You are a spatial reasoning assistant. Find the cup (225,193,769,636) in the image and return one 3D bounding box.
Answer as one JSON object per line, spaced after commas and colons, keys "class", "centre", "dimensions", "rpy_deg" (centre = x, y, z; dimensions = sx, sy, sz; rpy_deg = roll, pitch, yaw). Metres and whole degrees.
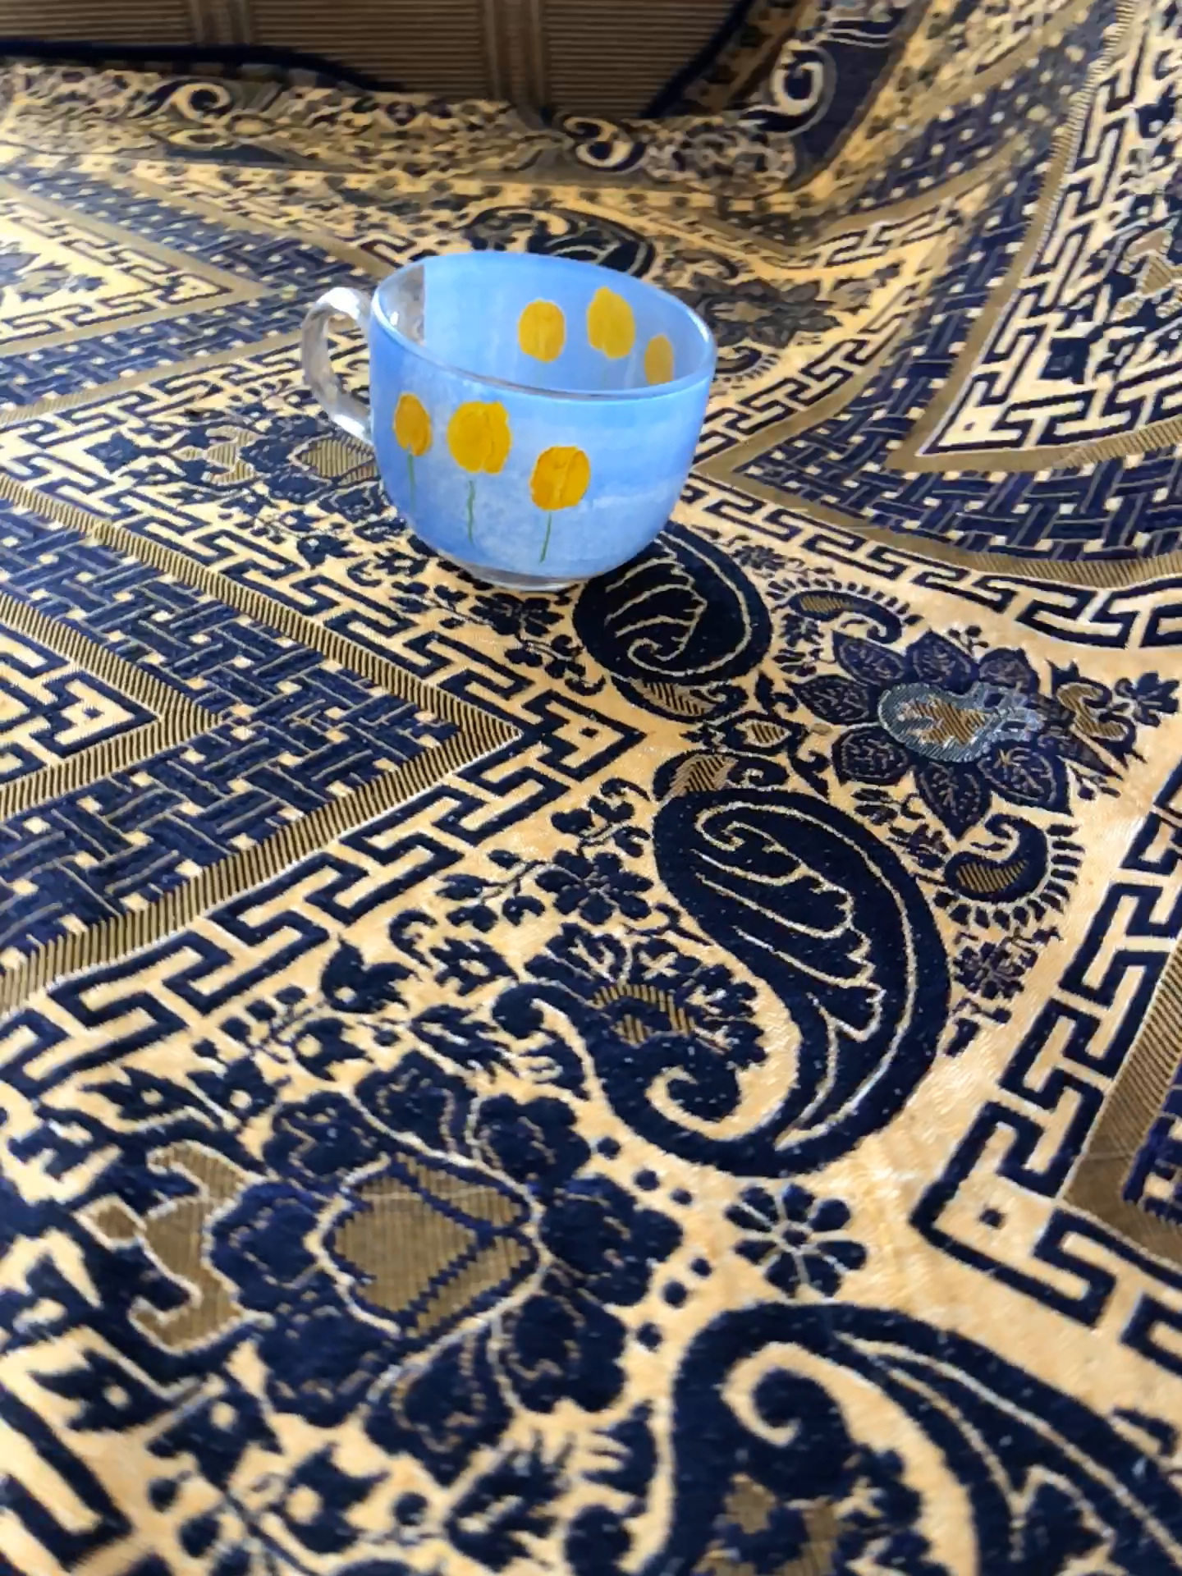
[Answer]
{"class": "cup", "centre": [-0.029, -0.130, 0.435], "dimensions": [0.138, 0.072, 0.109], "rpy_deg": [20, 45, 13]}
